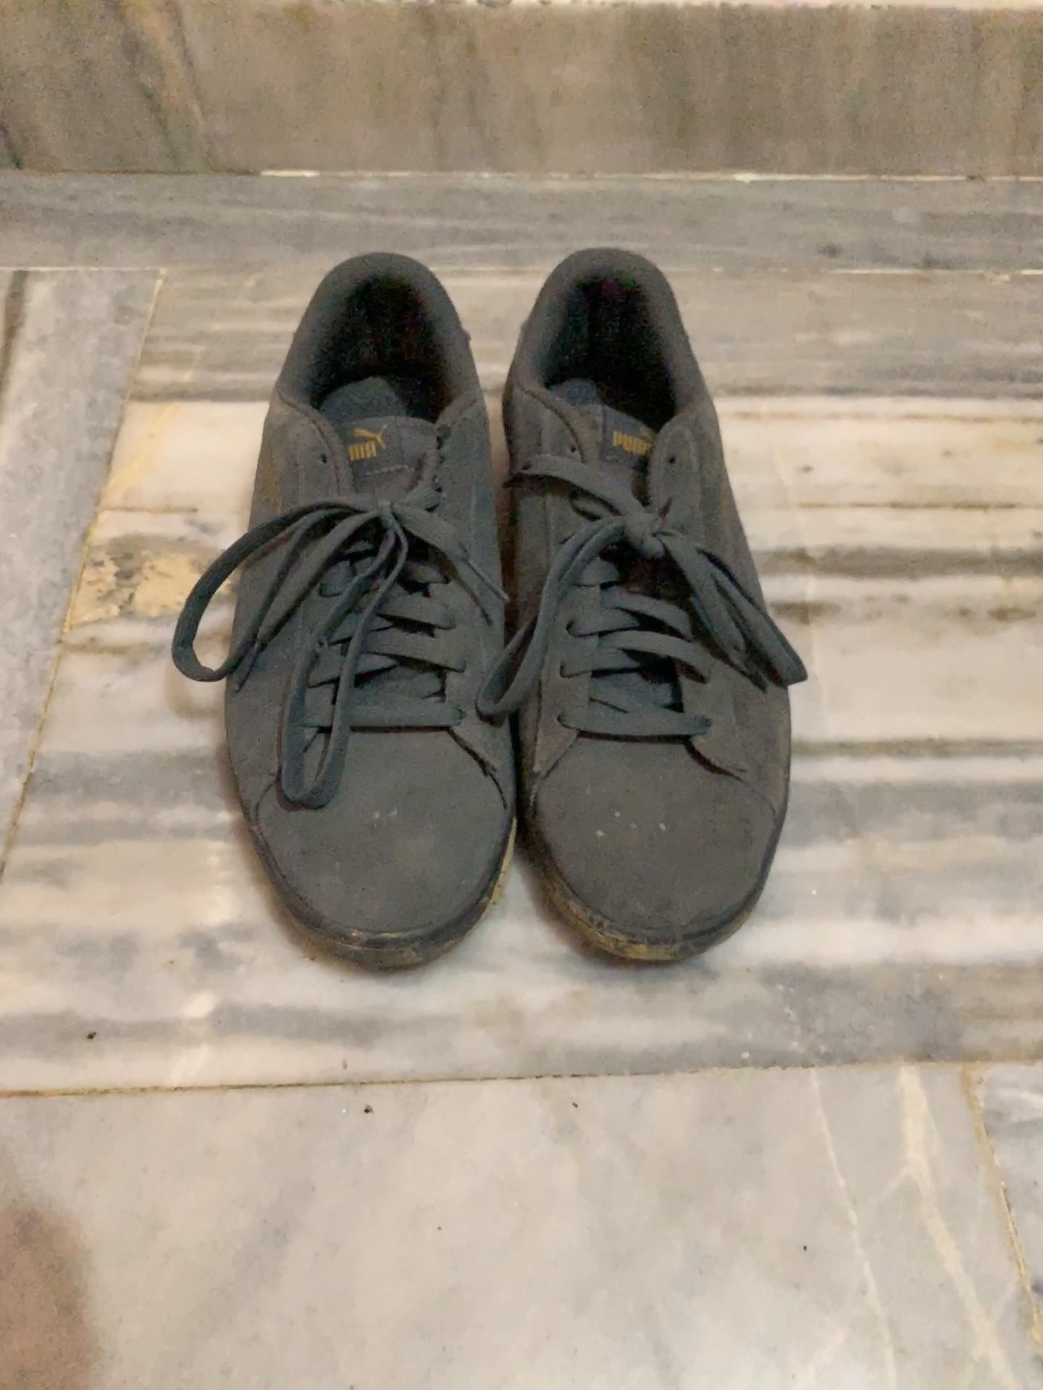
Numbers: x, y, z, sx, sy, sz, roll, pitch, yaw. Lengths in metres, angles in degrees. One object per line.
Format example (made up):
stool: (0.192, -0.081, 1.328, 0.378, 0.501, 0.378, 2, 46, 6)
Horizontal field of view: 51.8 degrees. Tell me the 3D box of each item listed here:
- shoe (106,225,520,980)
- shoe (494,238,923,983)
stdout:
shoe: (-0.063, -0.051, 0.411, 0.110, 0.100, 0.290, -1, 55, -3)
shoe: (0.048, -0.048, 0.418, 0.110, 0.100, 0.290, -1, 55, -3)
